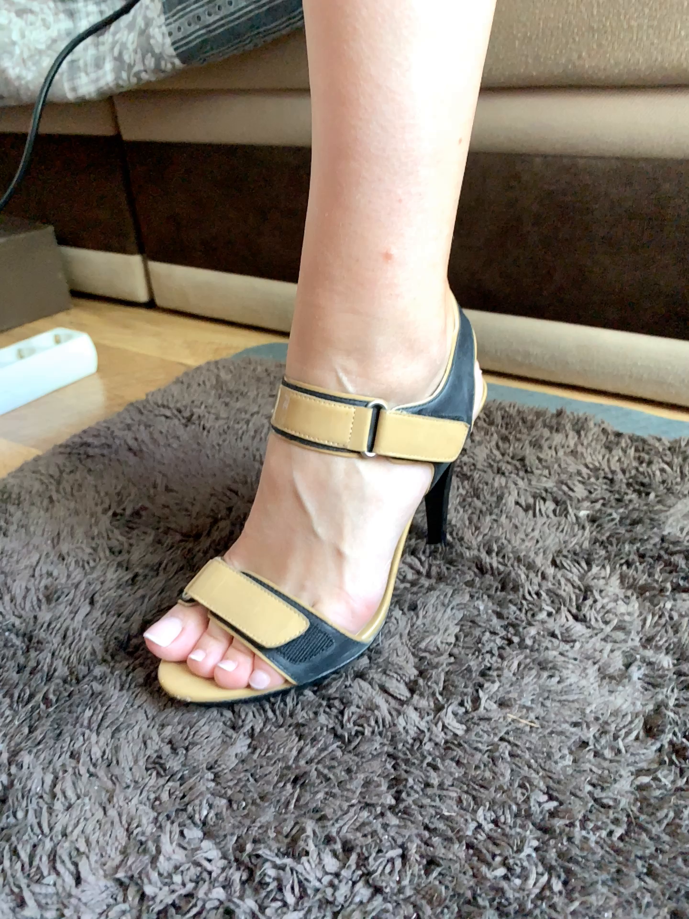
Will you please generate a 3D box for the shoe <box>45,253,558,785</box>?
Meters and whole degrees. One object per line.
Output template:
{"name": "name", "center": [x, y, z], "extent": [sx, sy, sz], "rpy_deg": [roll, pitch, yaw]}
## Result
{"name": "shoe", "center": [-0.003, 0.009, 0.329], "extent": [0.200, 0.149, 0.090], "rpy_deg": [-28, 39, -36]}
